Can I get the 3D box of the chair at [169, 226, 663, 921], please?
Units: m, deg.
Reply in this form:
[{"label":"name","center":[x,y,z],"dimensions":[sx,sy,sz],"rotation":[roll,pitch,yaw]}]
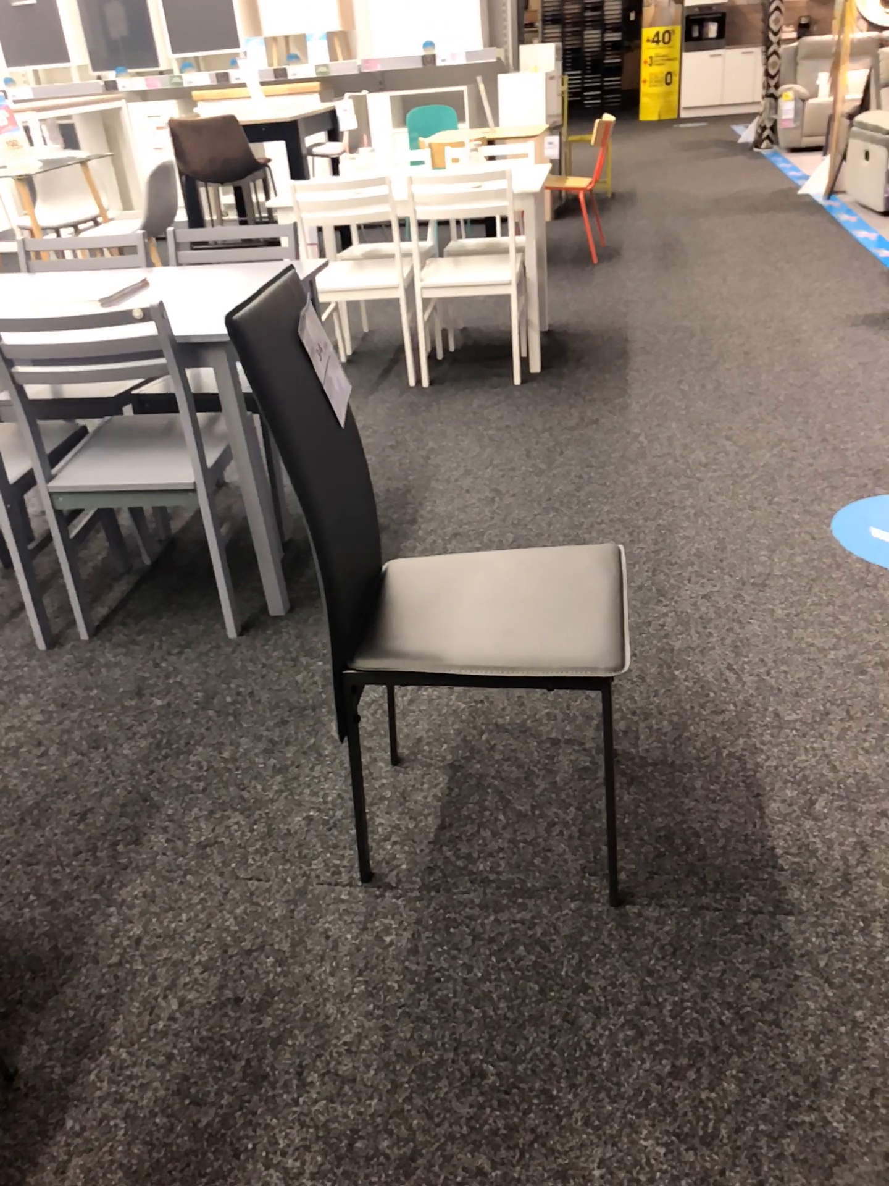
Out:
[{"label":"chair","center":[0.025,-0.022,1.511],"dimensions":[0.560,0.935,0.473],"rotation":[0,29,9]}]
